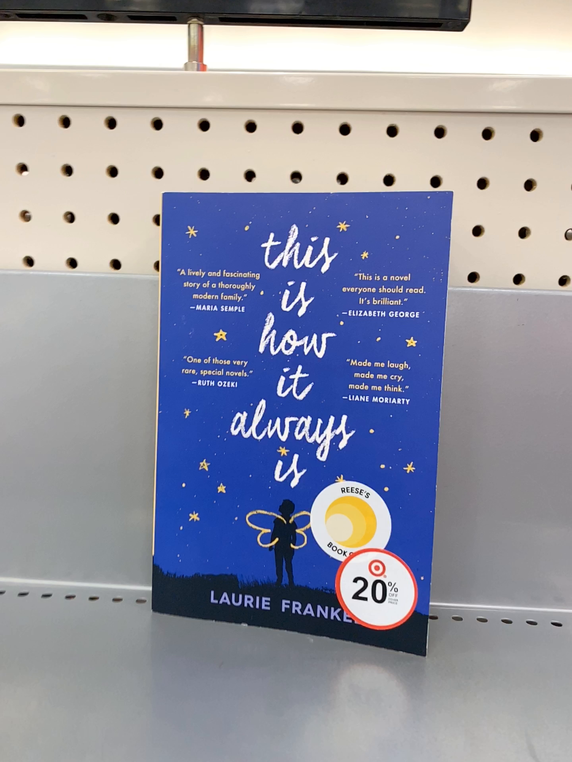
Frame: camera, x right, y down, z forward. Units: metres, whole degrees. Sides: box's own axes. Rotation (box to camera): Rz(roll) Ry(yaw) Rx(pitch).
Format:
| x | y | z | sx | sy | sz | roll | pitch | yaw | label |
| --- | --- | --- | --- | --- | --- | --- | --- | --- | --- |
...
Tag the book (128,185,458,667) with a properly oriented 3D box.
| x | y | z | sx | sy | sz | roll | pitch | yaw | label |
| --- | --- | --- | --- | --- | --- | --- | --- | --- | --- |
| 0.001 | 0.017 | 0.292 | 0.140 | 0.209 | 0.044 | 5 | 5 | 12 | book |
